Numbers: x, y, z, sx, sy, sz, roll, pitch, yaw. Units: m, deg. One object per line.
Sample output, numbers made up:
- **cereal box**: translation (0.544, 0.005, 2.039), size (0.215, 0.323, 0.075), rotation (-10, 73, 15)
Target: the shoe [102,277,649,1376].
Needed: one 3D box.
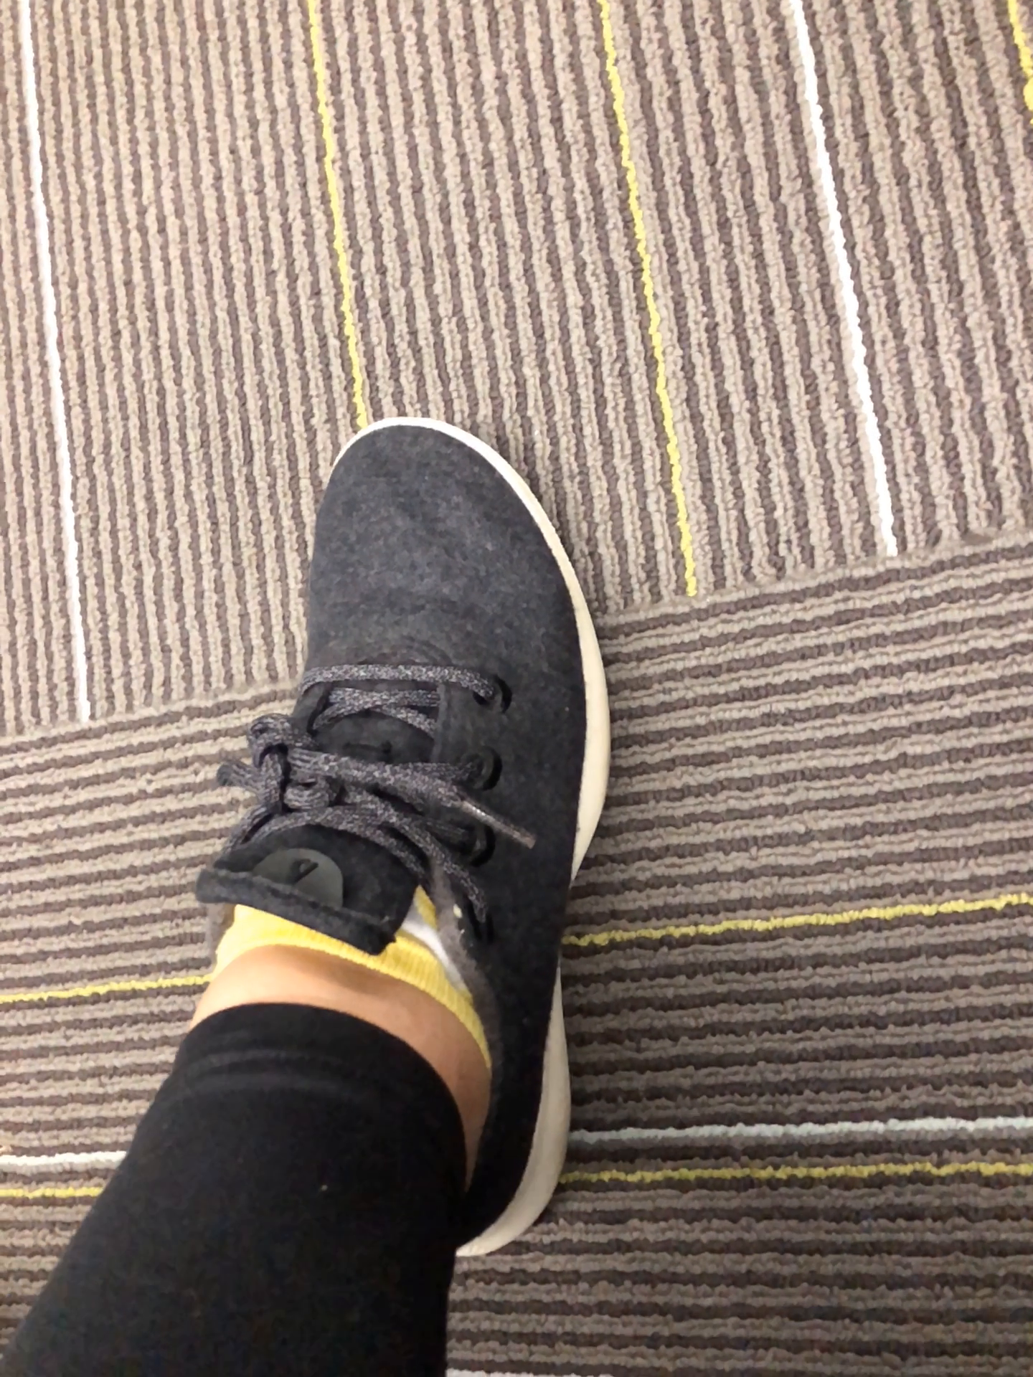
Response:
- **shoe**: translation (-0.039, 0.038, 0.322), size (0.120, 0.080, 0.260), rotation (-5, 84, 20)
